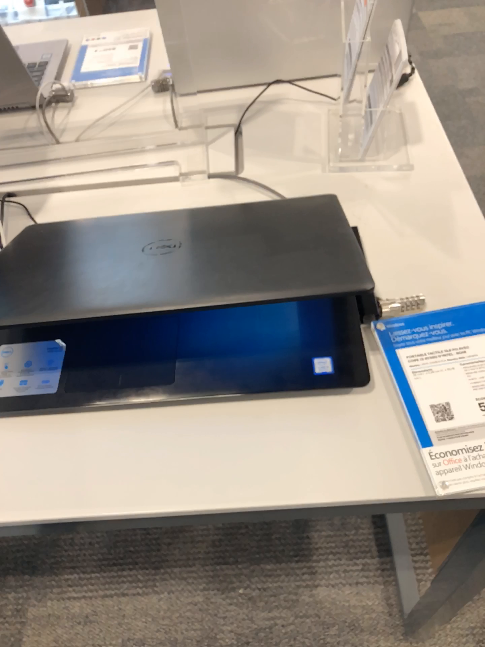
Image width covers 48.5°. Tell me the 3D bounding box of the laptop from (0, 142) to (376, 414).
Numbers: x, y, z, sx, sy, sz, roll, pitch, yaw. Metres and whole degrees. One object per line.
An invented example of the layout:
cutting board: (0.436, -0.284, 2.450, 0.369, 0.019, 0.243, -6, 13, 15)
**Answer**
laptop: (-0.076, -0.054, 0.531, 0.365, 0.080, 0.246, -5, 52, 3)
